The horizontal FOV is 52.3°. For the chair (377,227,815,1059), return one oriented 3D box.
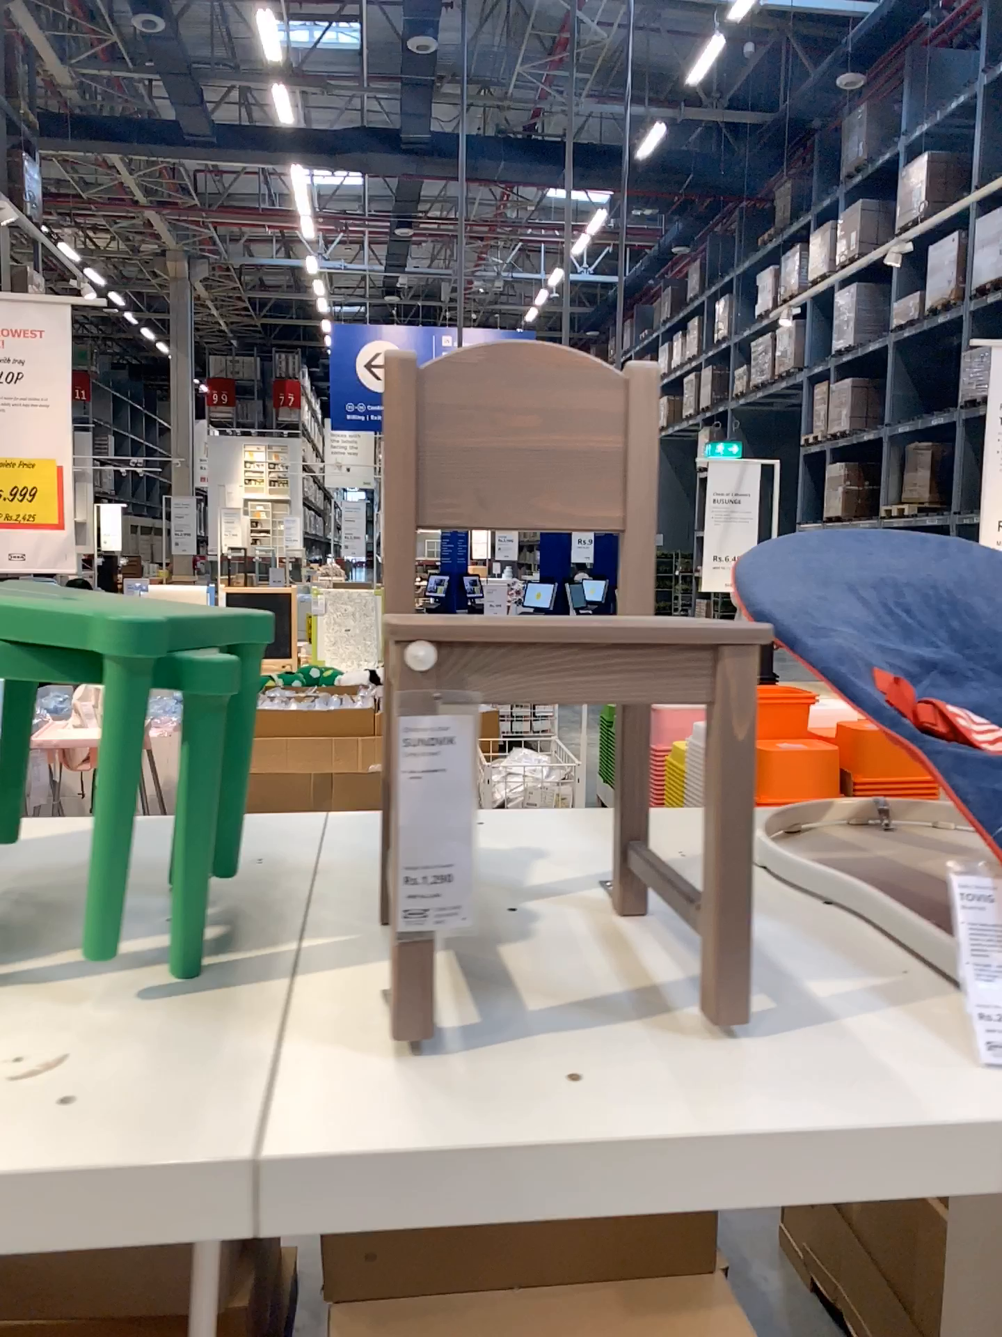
[{"bbox_3d":[0.040,-0.024,0.812,0.270,0.519,0.320,0,6,-8],"label":"chair"}]
